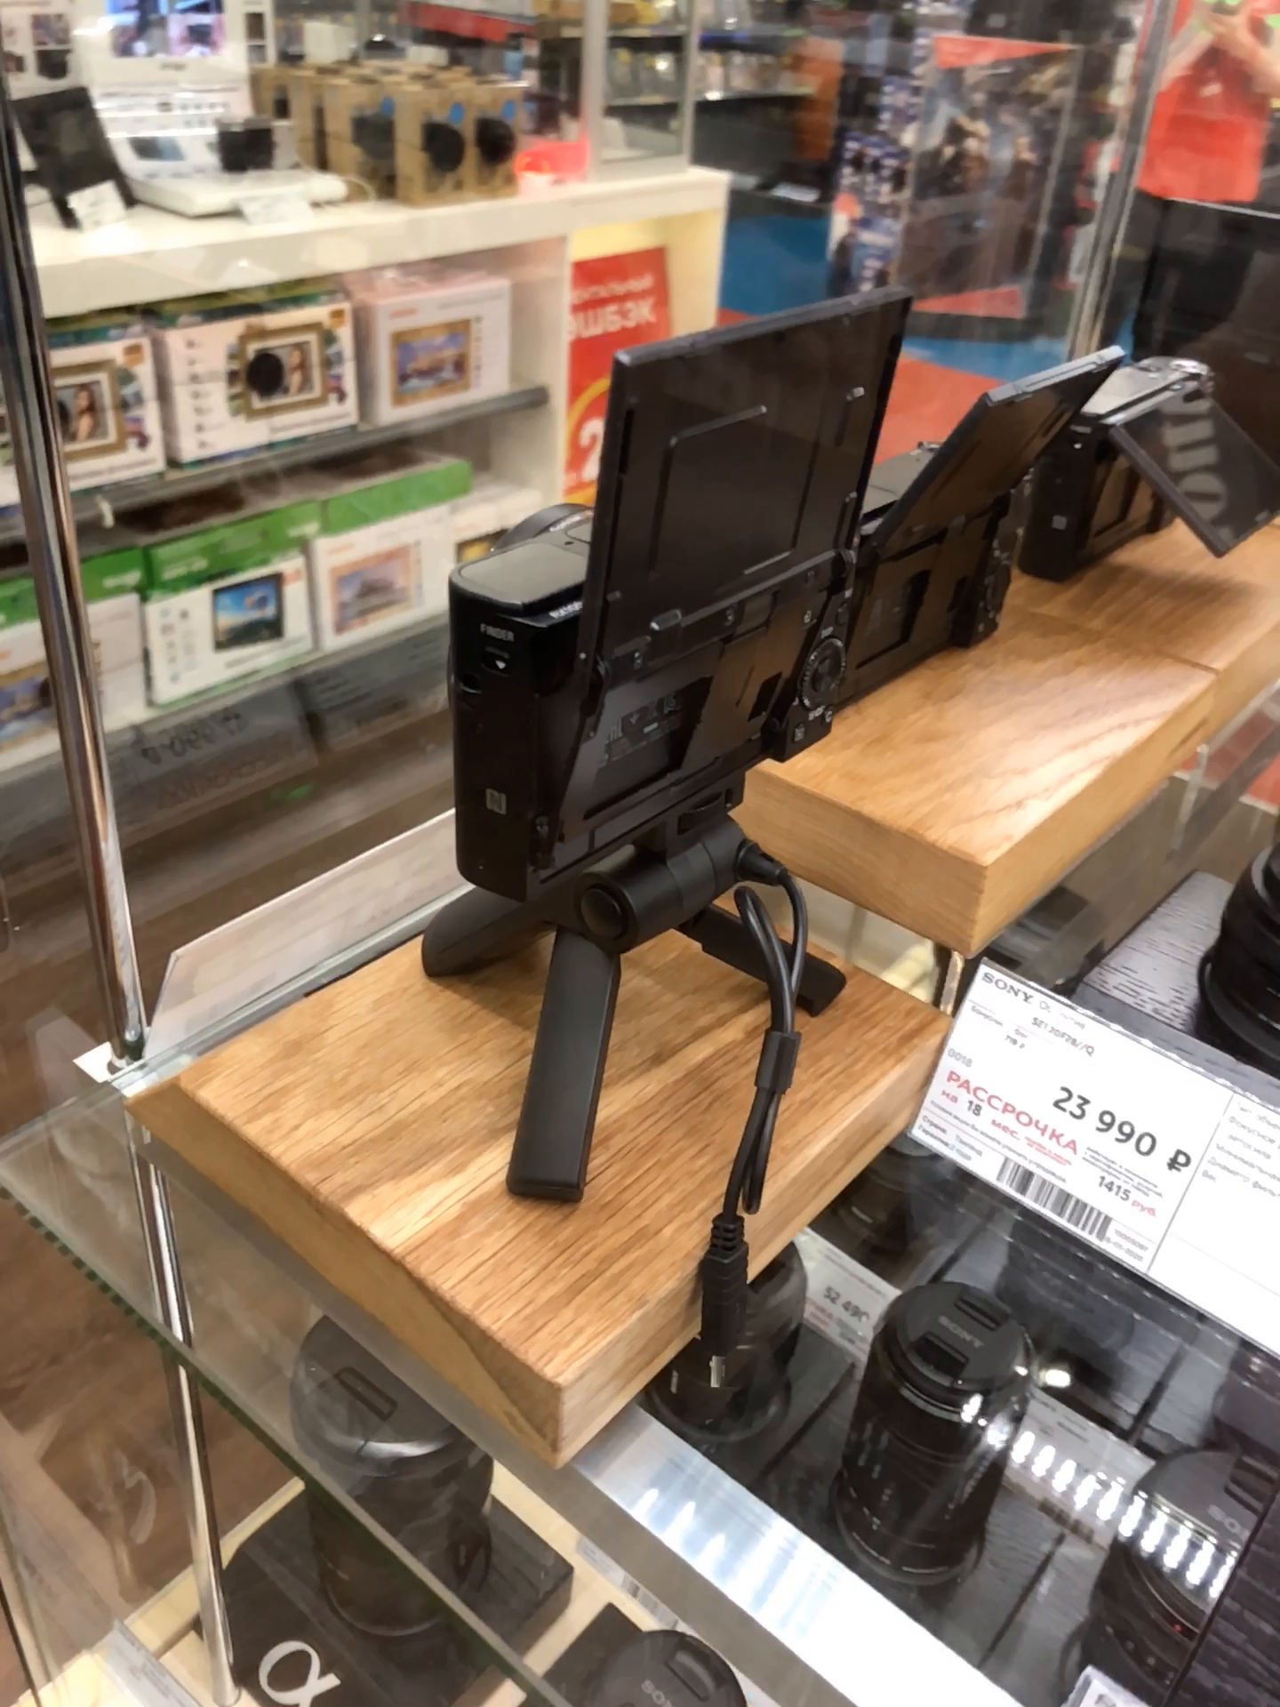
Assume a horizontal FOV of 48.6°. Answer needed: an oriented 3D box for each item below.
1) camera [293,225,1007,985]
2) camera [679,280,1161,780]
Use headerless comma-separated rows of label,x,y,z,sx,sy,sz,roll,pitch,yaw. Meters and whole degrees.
camera,0.003,-0.052,0.259,0.062,0.097,0.109,28,40,31
camera,0.076,-0.094,0.392,0.070,0.097,0.109,28,40,31
